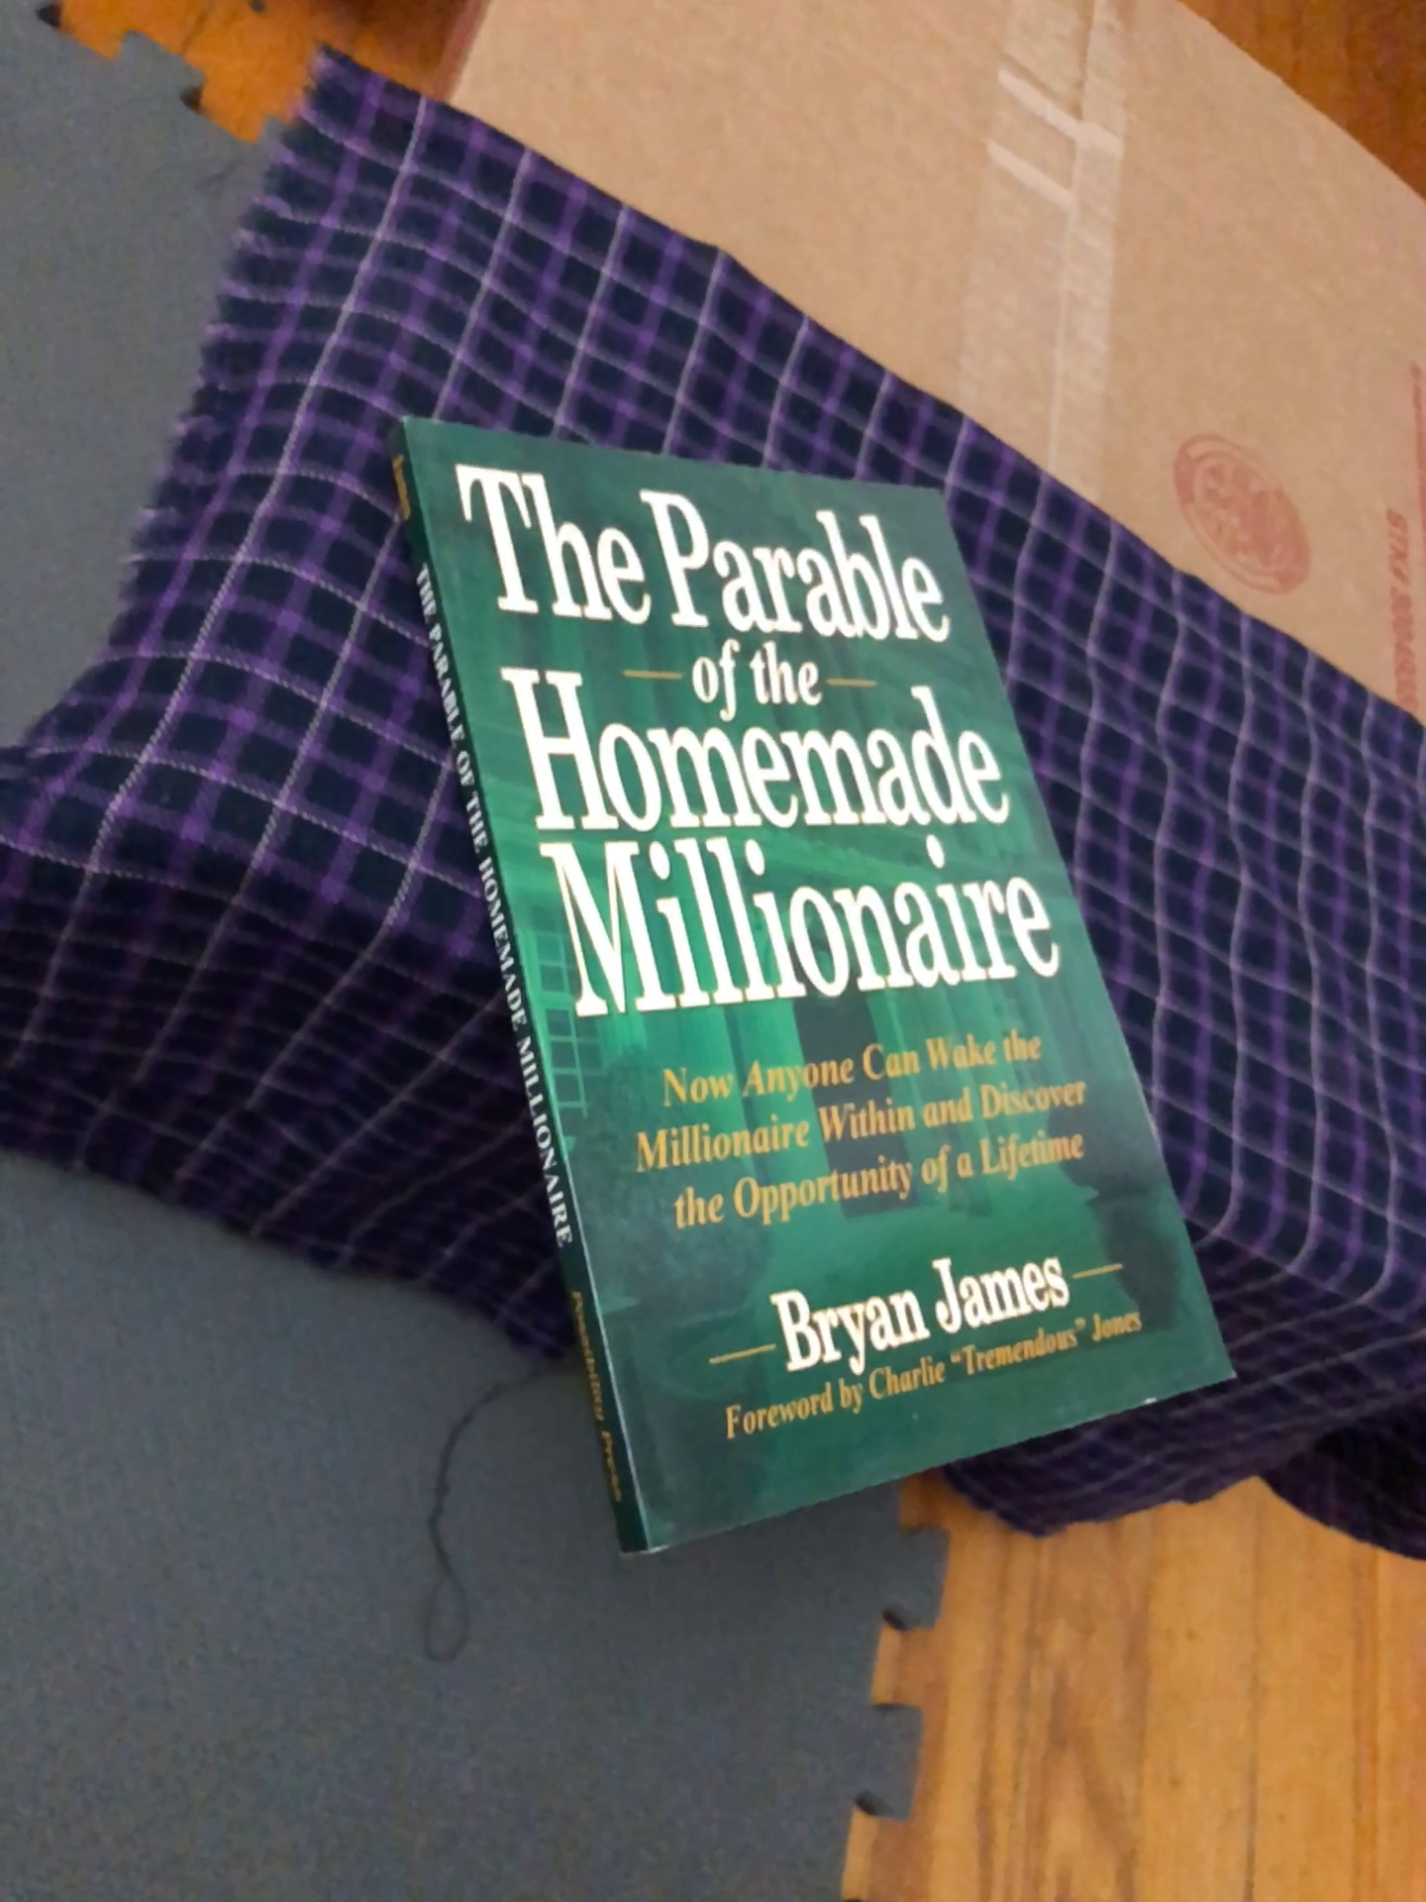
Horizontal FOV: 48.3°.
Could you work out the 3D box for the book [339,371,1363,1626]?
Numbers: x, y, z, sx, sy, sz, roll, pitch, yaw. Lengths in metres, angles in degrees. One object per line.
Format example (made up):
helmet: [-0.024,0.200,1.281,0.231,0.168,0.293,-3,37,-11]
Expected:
book: [0.028,-0.006,0.302,0.161,0.020,0.210,-4,71,-32]
